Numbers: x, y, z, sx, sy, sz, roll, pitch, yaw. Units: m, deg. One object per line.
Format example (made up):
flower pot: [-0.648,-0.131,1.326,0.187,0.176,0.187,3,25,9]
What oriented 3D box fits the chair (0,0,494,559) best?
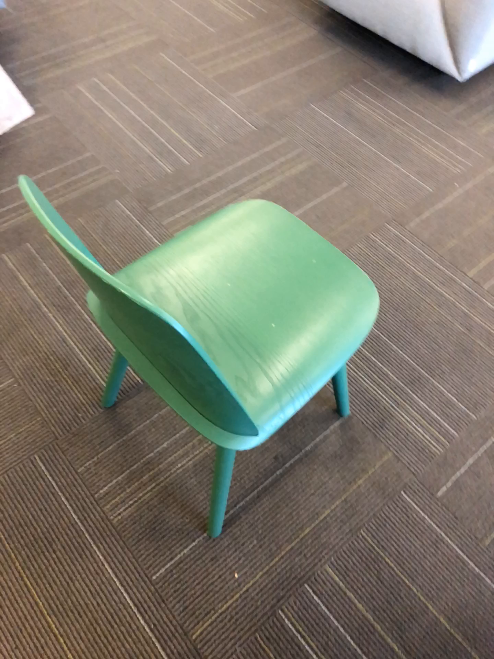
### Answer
chair: [-0.027,-0.041,1.002,0.501,0.778,0.501,-35,64,-24]
